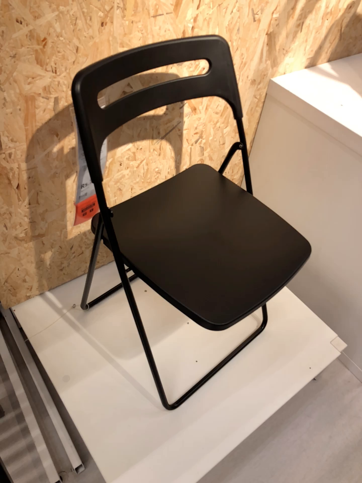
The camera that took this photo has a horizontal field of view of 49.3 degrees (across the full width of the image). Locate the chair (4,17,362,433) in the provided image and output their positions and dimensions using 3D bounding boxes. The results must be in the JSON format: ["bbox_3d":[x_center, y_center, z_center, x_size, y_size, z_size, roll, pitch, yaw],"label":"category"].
[{"bbox_3d":[0.006,-0.025,0.971,0.492,0.735,0.522,-30,58,-30],"label":"chair"}]
